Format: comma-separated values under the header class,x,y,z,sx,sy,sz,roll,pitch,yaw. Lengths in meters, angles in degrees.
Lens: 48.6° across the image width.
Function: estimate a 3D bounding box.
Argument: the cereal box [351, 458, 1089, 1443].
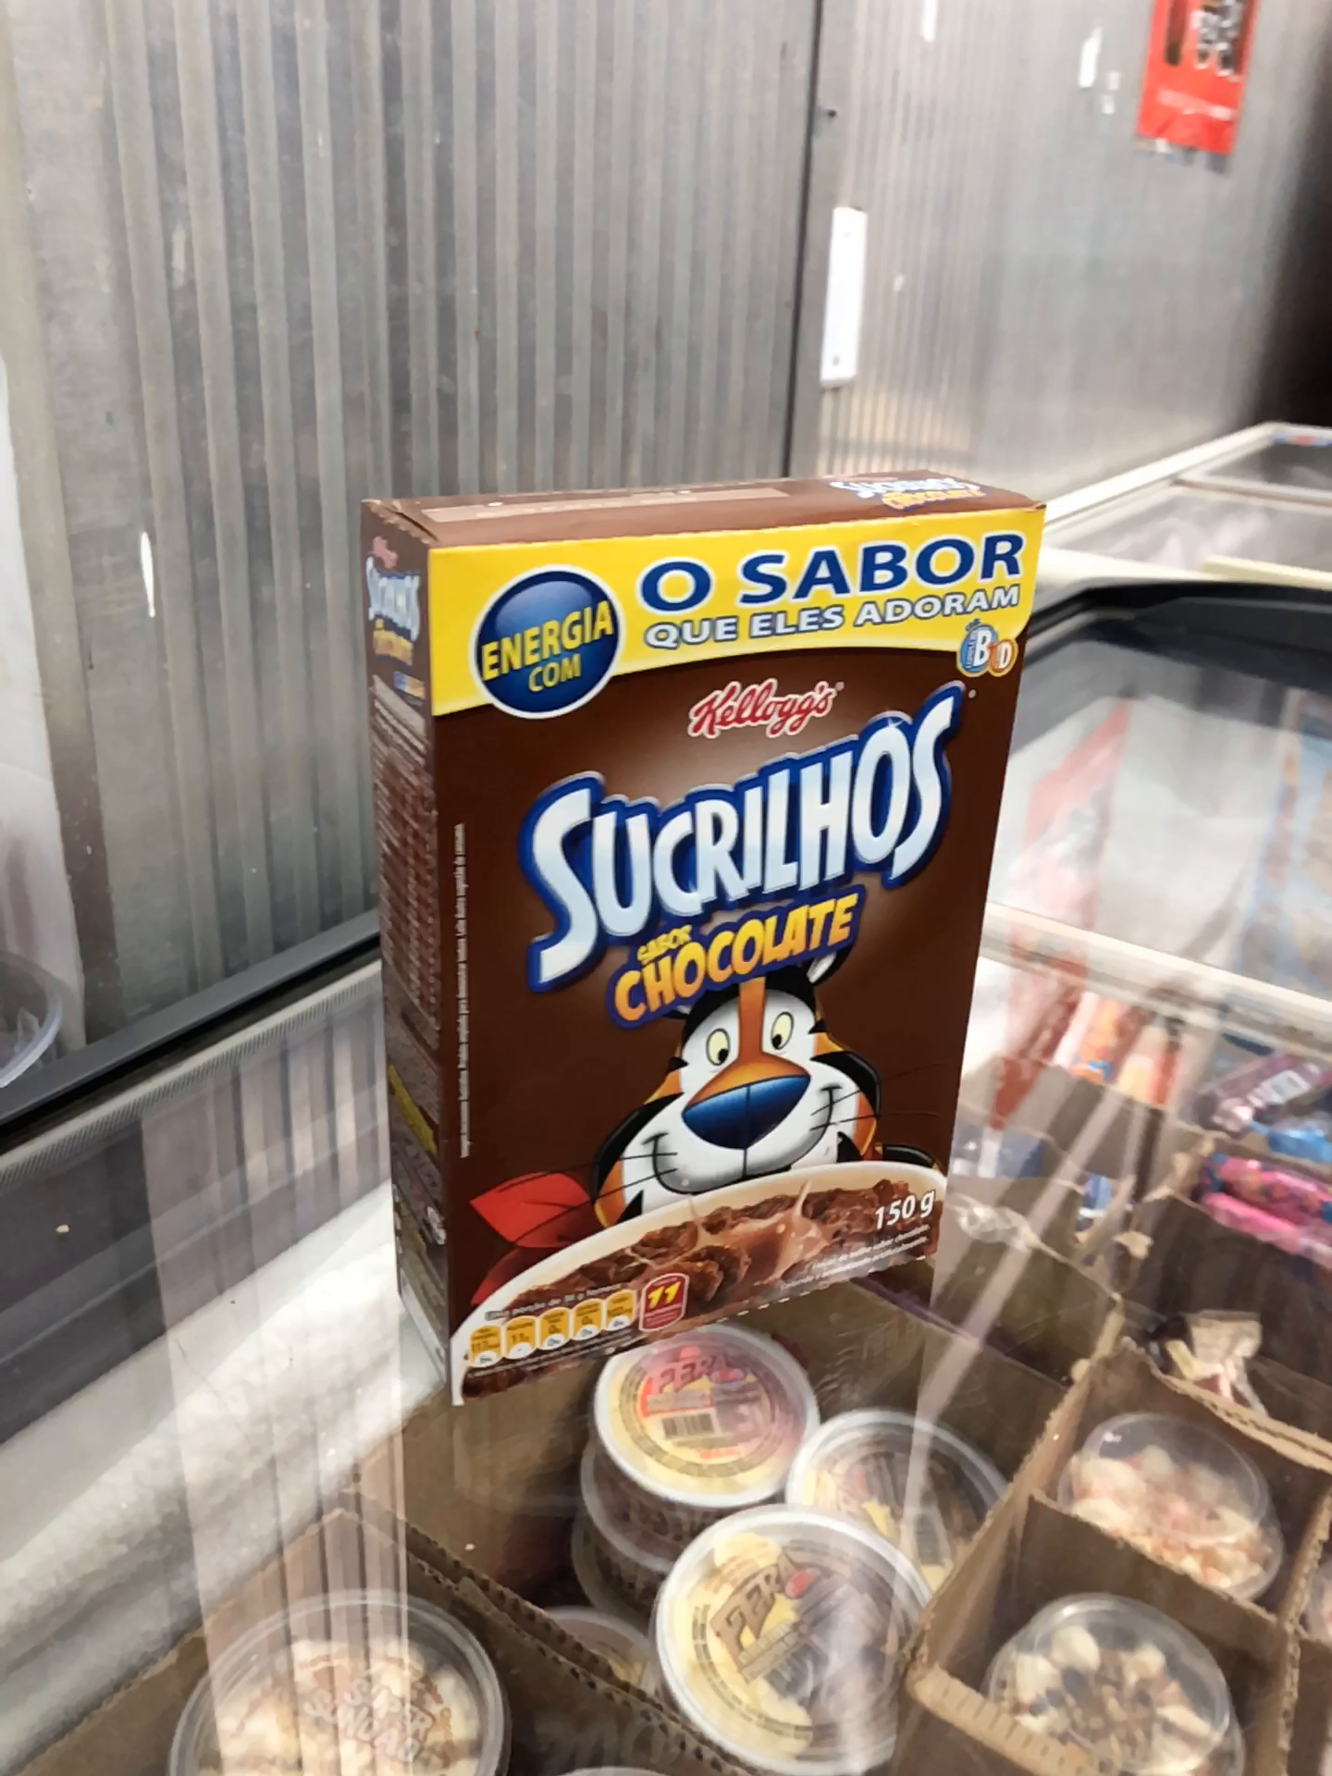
class,x,y,z,sx,sy,sz,roll,pitch,yaw
cereal box,0.010,0.011,0.352,0.150,0.209,0.050,-11,28,-27
